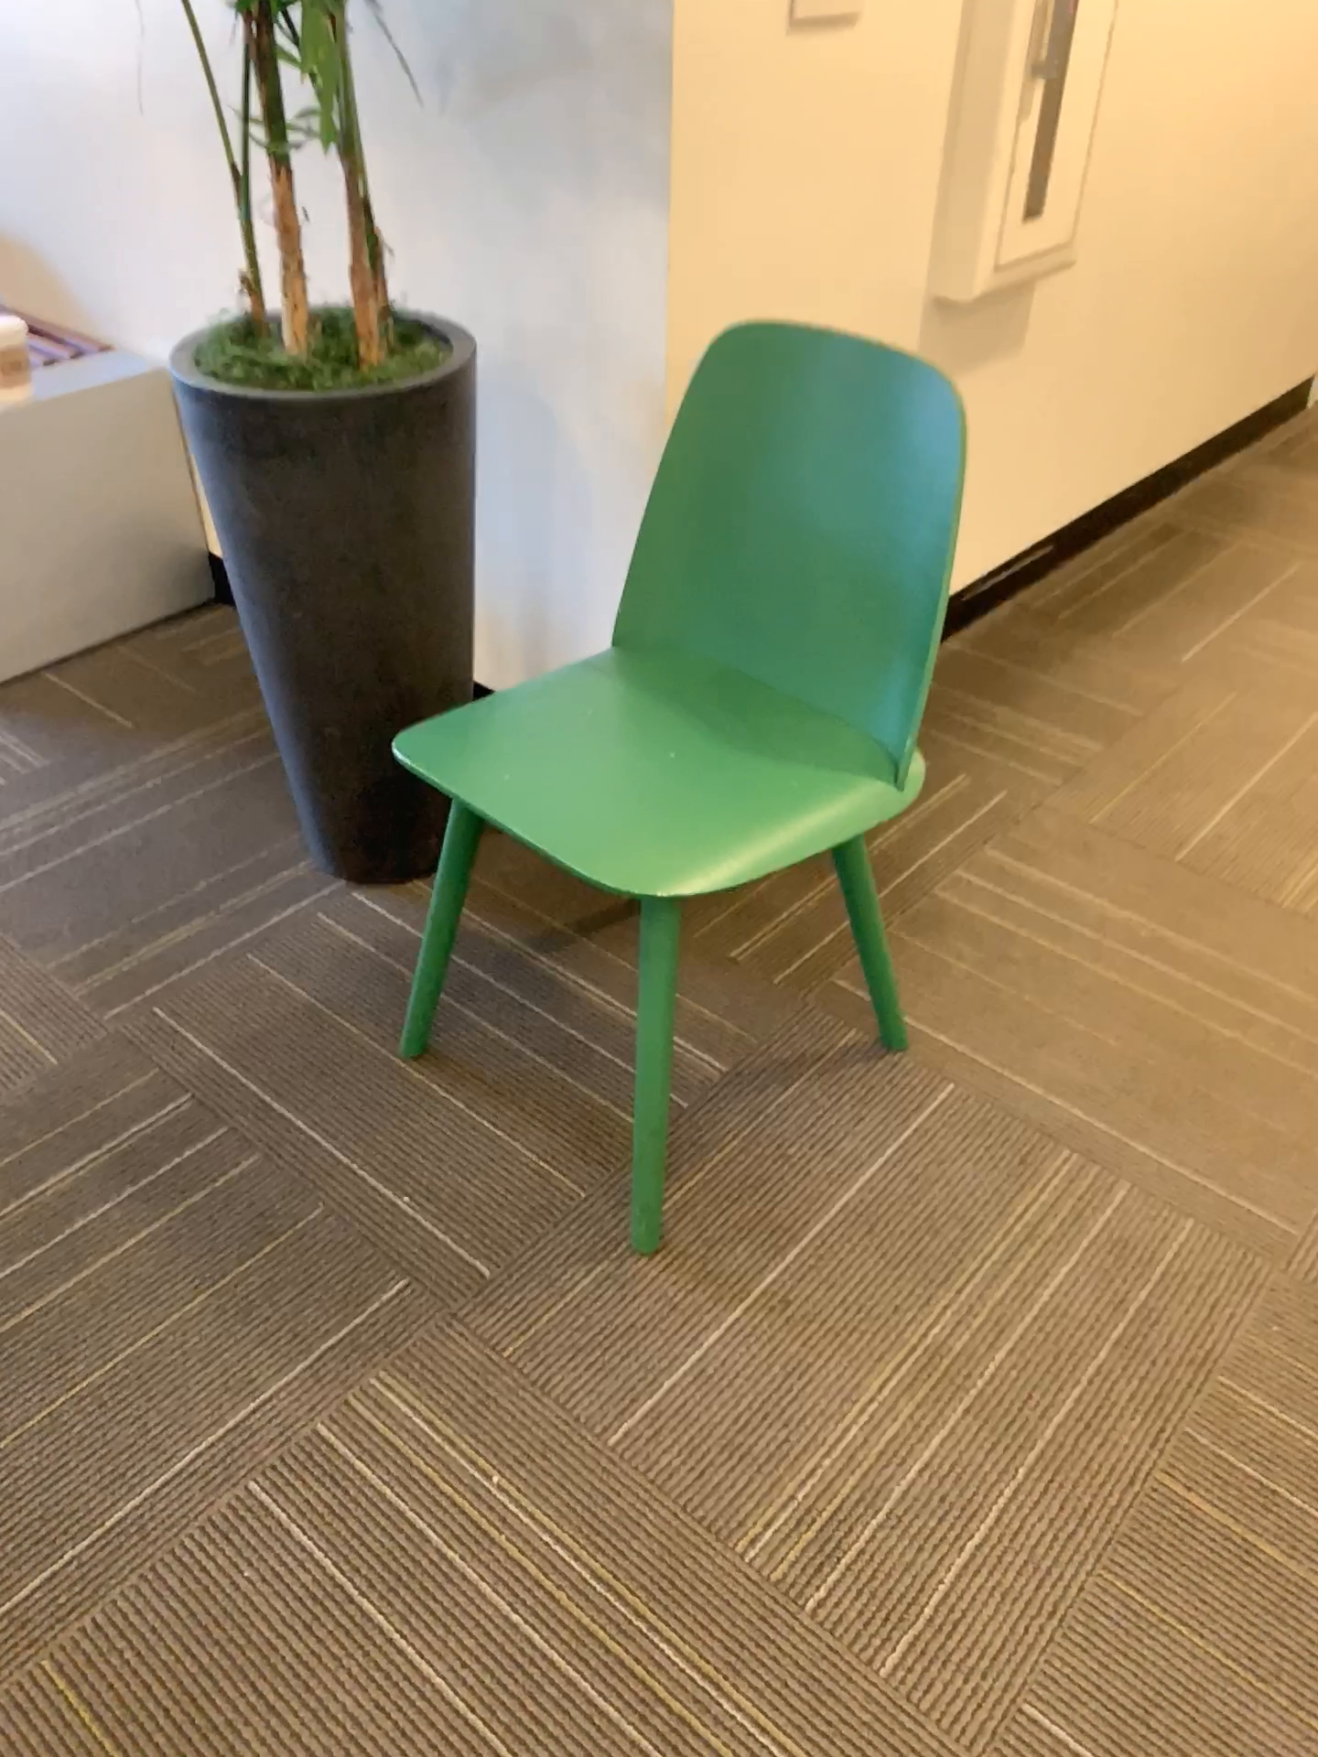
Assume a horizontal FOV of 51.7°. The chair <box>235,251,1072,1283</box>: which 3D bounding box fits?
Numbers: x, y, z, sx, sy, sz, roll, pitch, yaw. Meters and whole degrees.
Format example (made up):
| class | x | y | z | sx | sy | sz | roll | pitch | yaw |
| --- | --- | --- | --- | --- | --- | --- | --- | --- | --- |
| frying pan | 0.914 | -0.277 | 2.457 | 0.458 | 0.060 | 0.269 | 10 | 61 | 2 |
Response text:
| class | x | y | z | sx | sy | sz | roll | pitch | yaw |
| --- | --- | --- | --- | --- | --- | --- | --- | --- | --- |
| chair | -0.007 | -0.132 | 1.382 | 0.502 | 0.785 | 0.501 | 29 | 45 | 32 |
